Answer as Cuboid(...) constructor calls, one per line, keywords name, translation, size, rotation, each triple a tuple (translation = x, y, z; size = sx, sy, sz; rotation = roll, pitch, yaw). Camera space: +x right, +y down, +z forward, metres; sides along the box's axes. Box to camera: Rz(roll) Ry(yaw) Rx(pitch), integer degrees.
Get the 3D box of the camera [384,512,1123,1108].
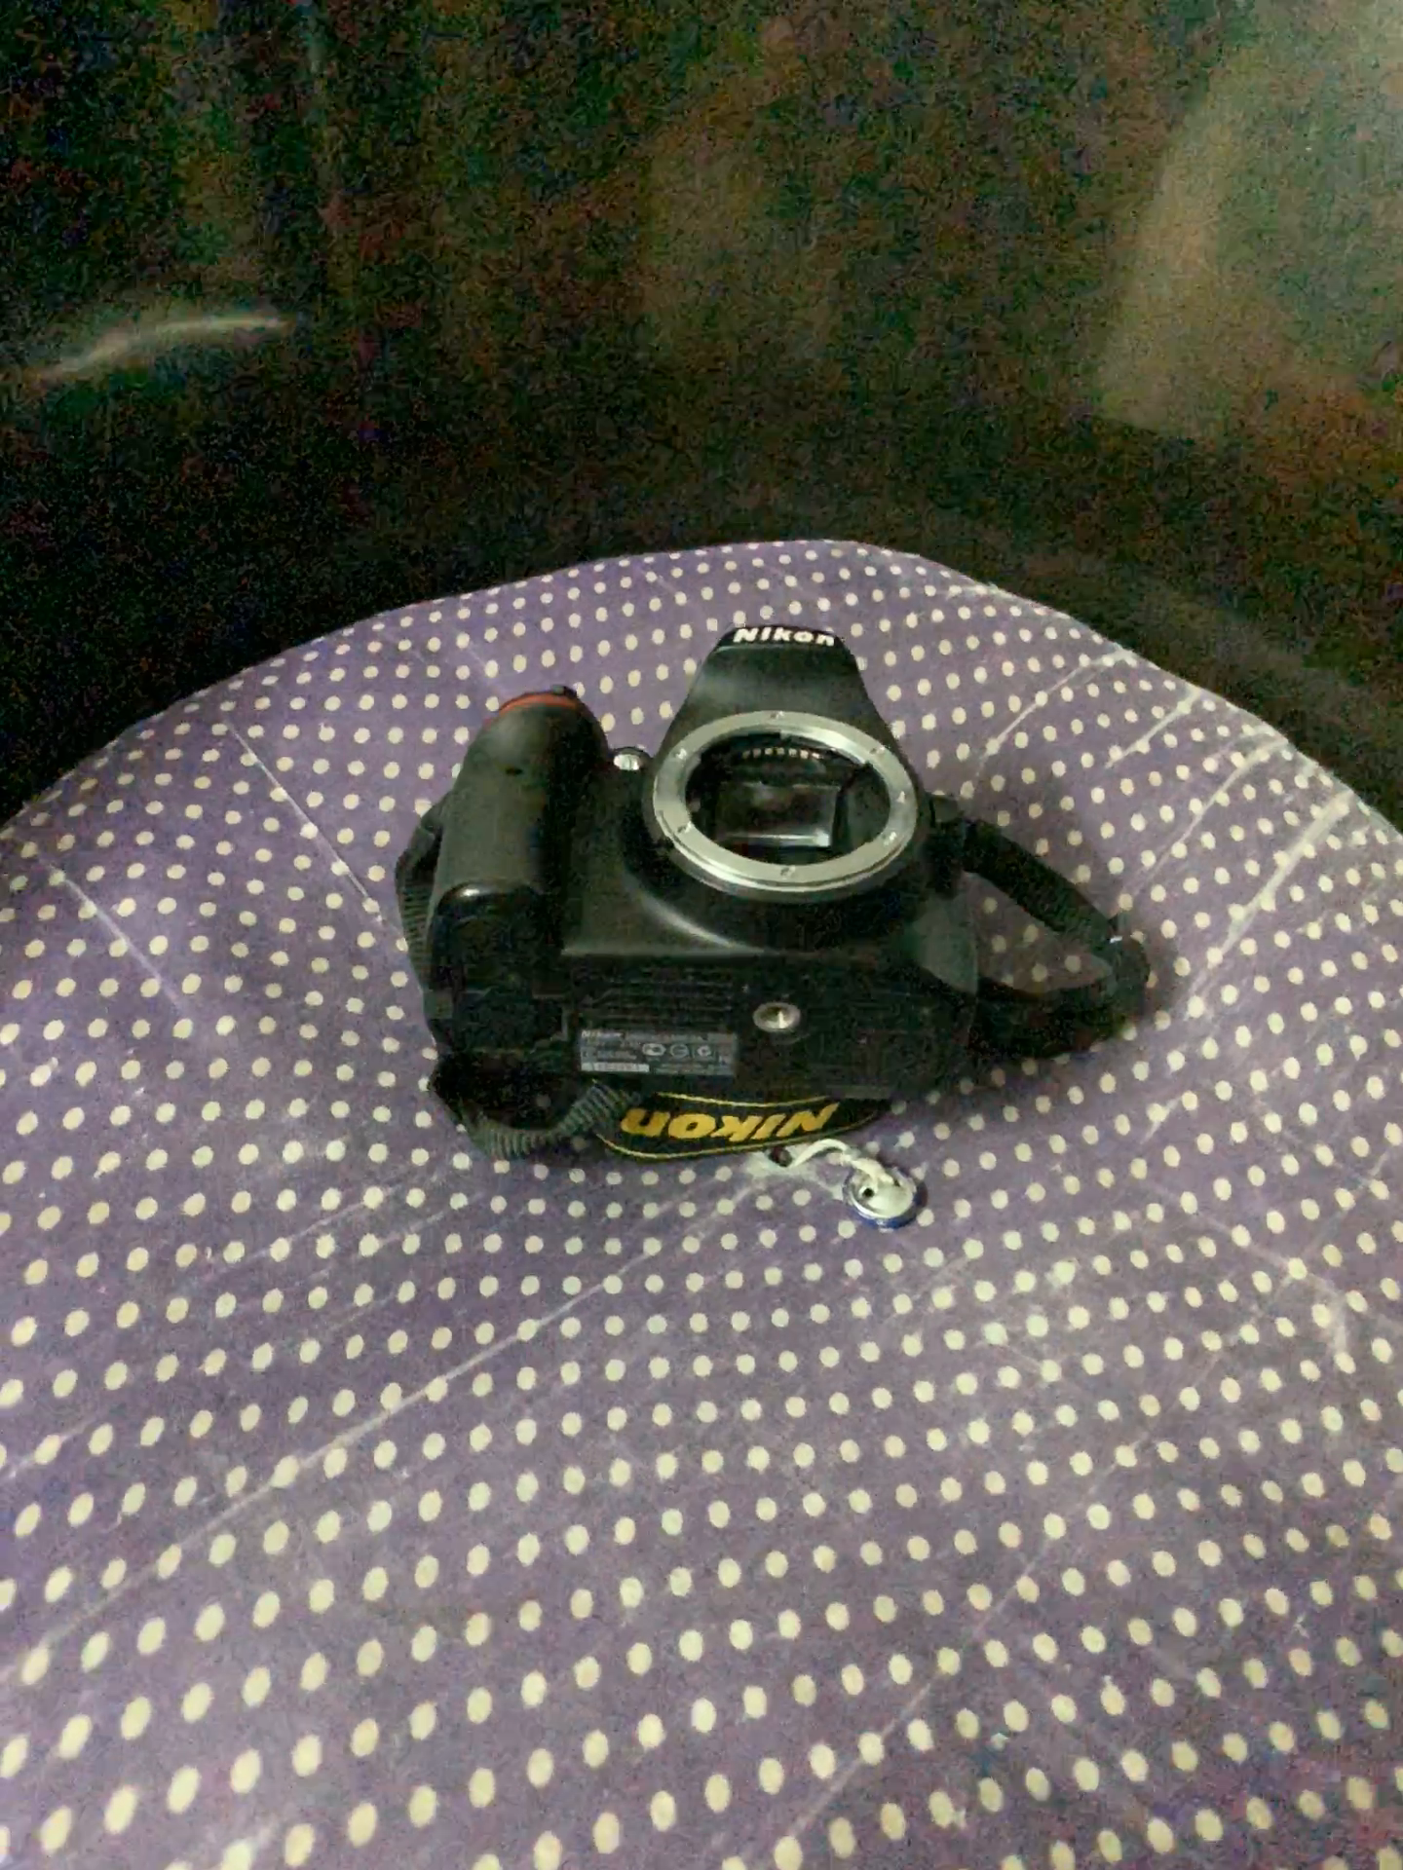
Cuboid(name="camera", translation=(0.006, -0.030, 0.337), size=(0.140, 0.080, 0.110), rotation=(2, 48, -5))
